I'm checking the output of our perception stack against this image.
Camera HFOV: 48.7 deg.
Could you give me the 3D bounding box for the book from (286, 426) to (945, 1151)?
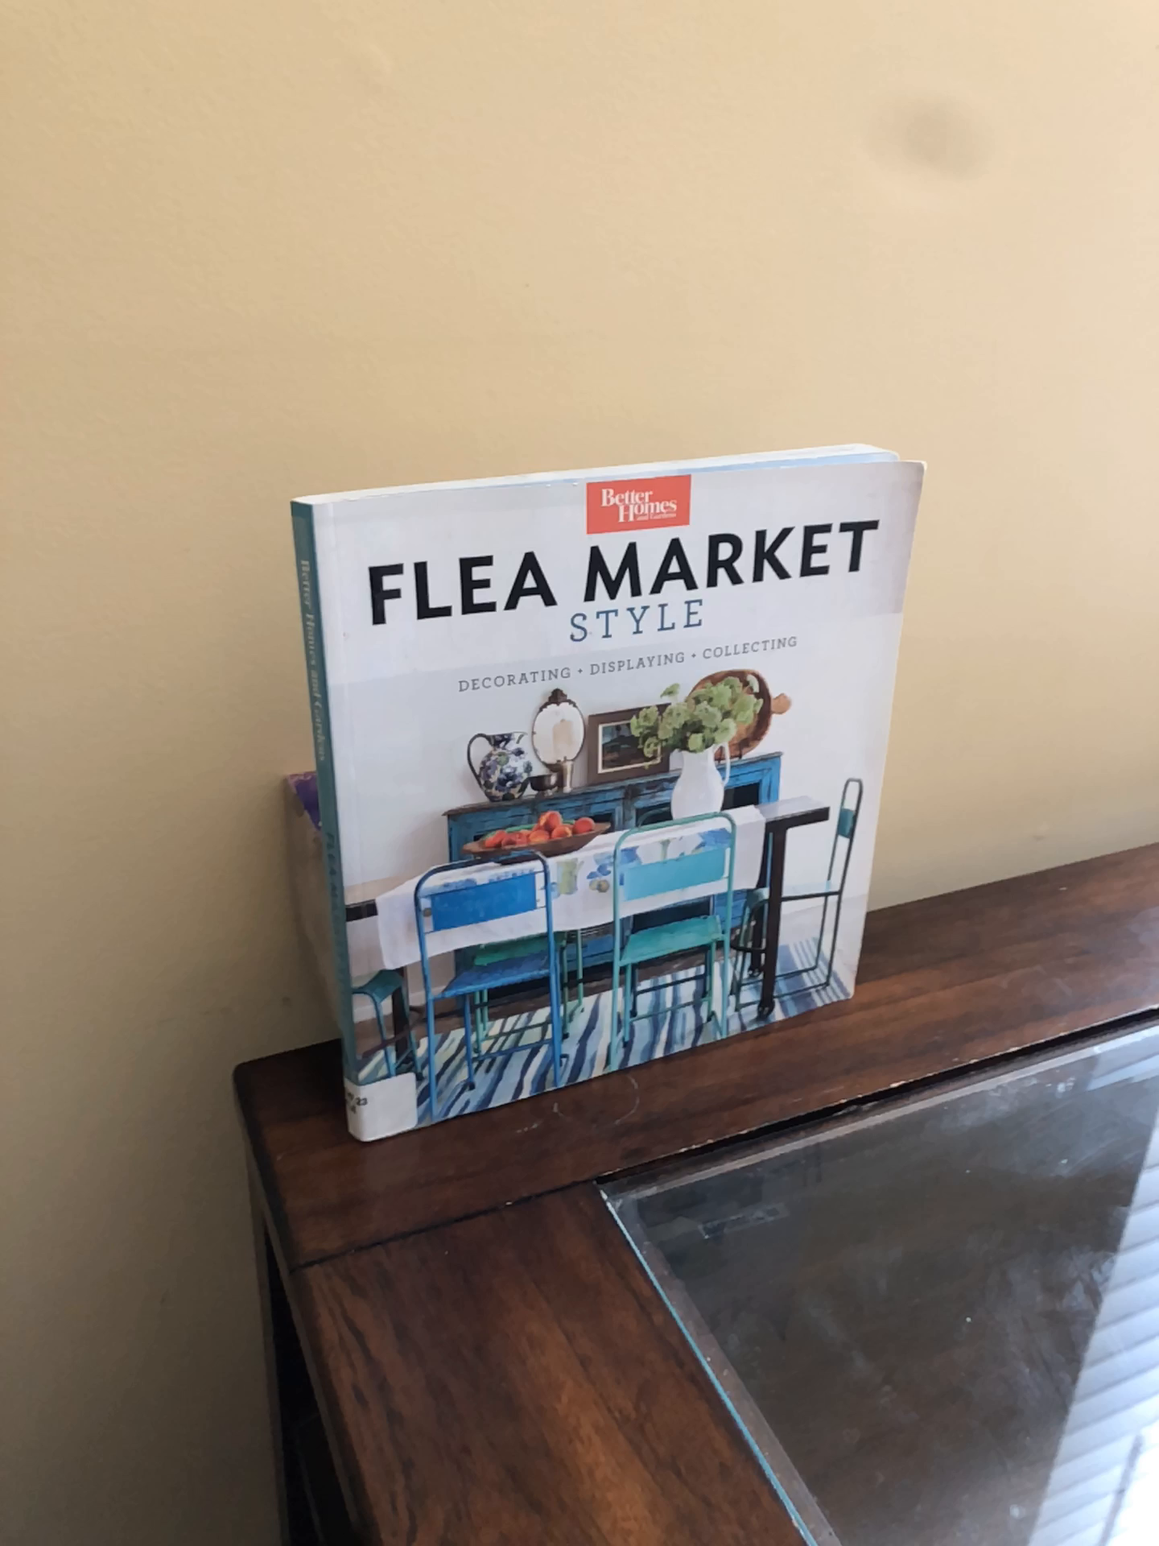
[{"bbox_3d":[0.019,0.003,0.480,0.233,0.239,0.032,-11,28,-24],"label":"book"}]
